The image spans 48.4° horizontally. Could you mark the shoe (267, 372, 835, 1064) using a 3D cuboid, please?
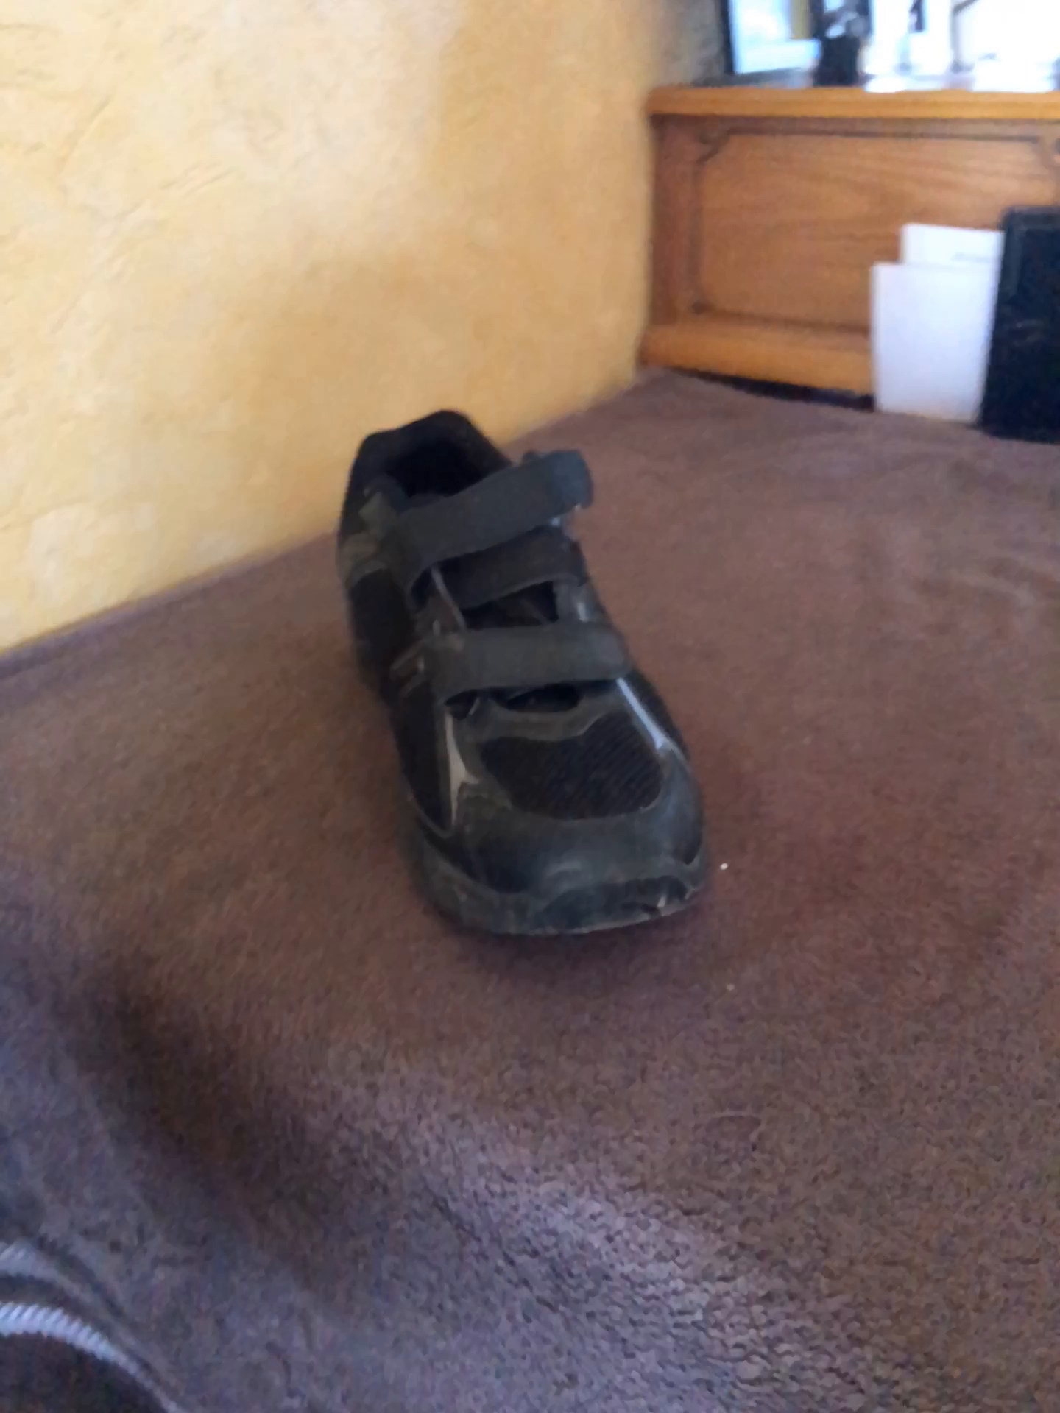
[{"bbox_3d":[-0.016,-0.025,0.414,0.110,0.109,0.271,-9,31,-14],"label":"shoe"}]
